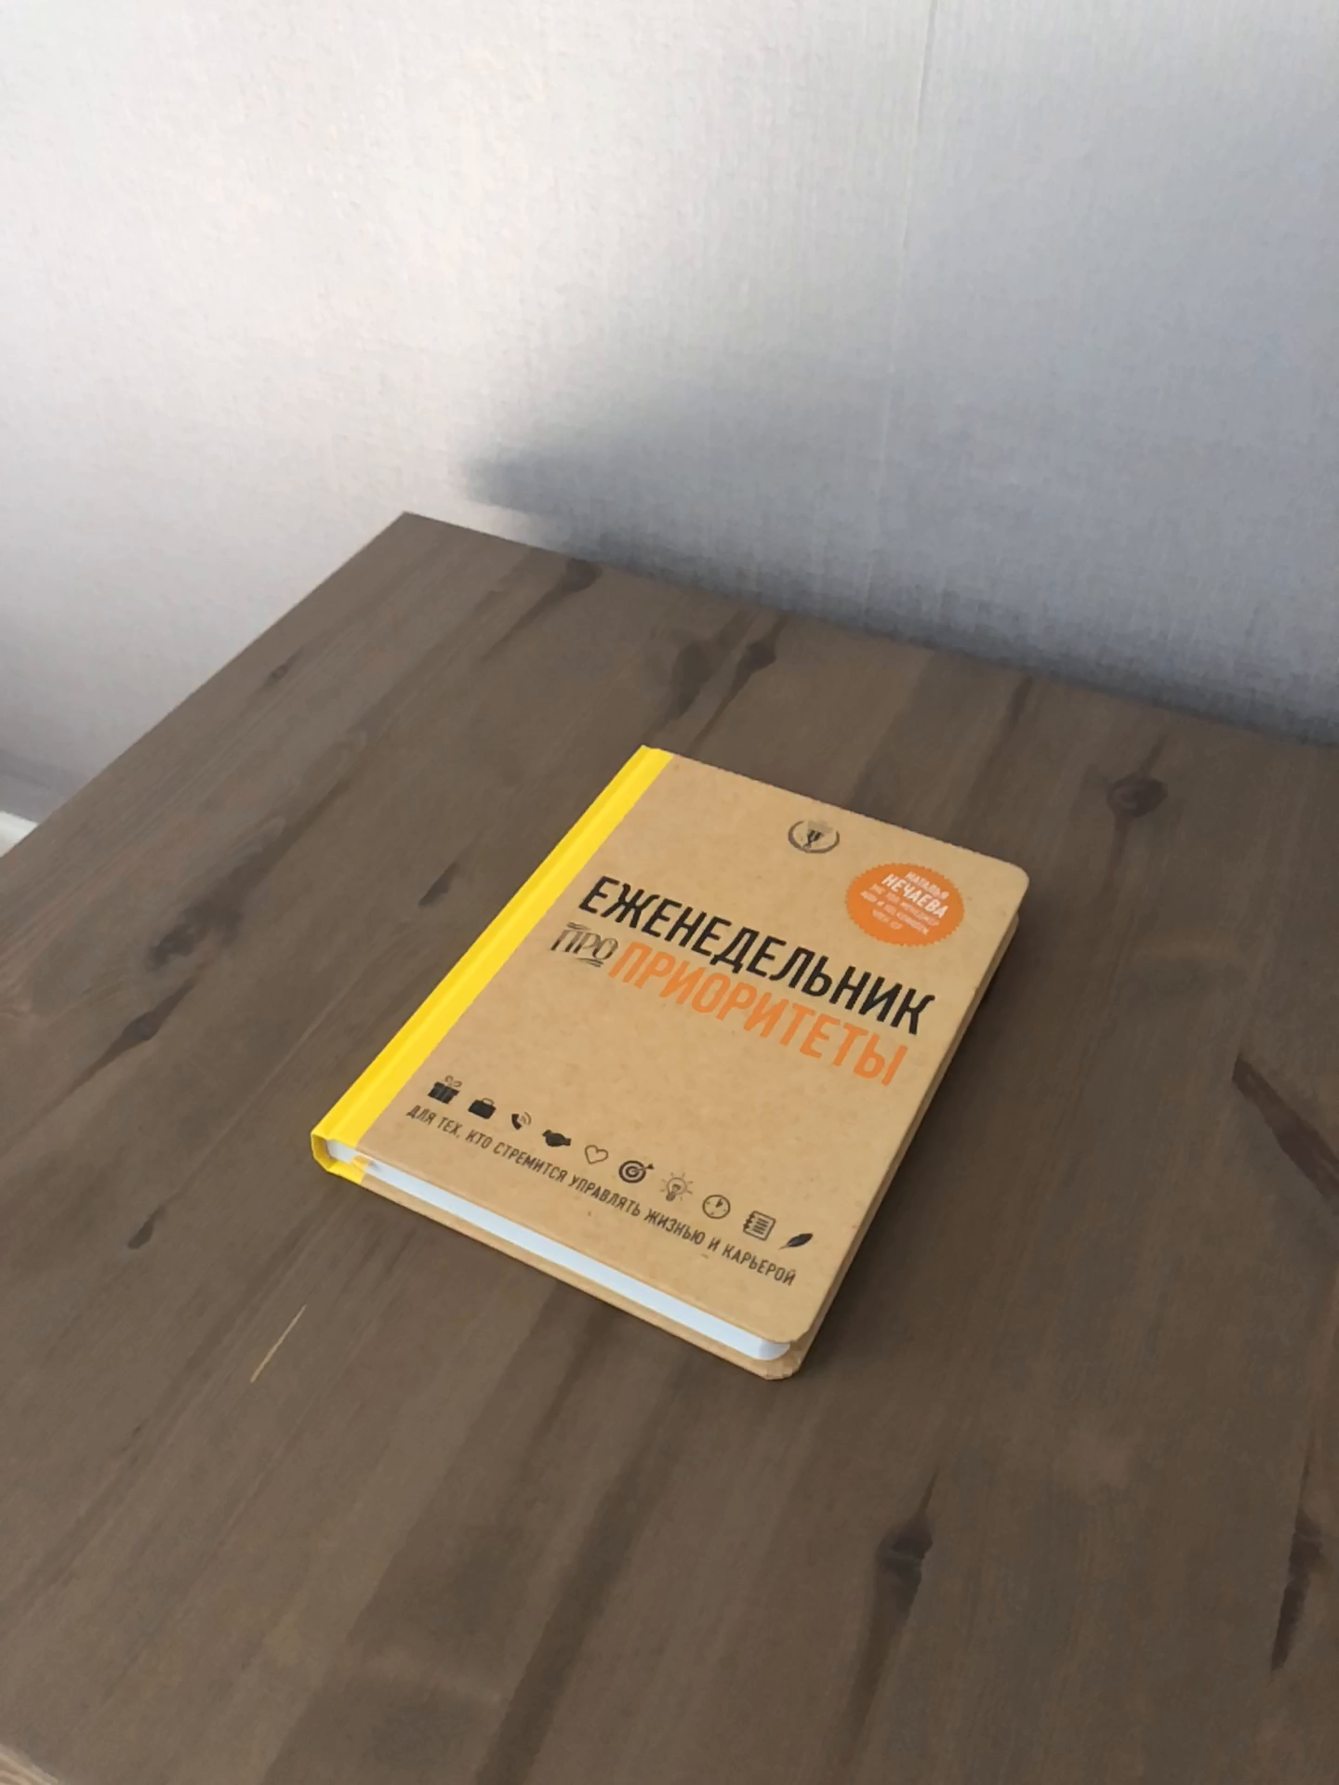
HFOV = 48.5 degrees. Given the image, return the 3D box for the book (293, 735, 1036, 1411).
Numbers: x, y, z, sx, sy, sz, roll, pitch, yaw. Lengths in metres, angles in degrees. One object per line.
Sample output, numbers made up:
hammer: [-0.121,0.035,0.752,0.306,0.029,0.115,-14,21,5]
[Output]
book: [0.009,0.045,0.541,0.180,0.032,0.230,20,48,19]
